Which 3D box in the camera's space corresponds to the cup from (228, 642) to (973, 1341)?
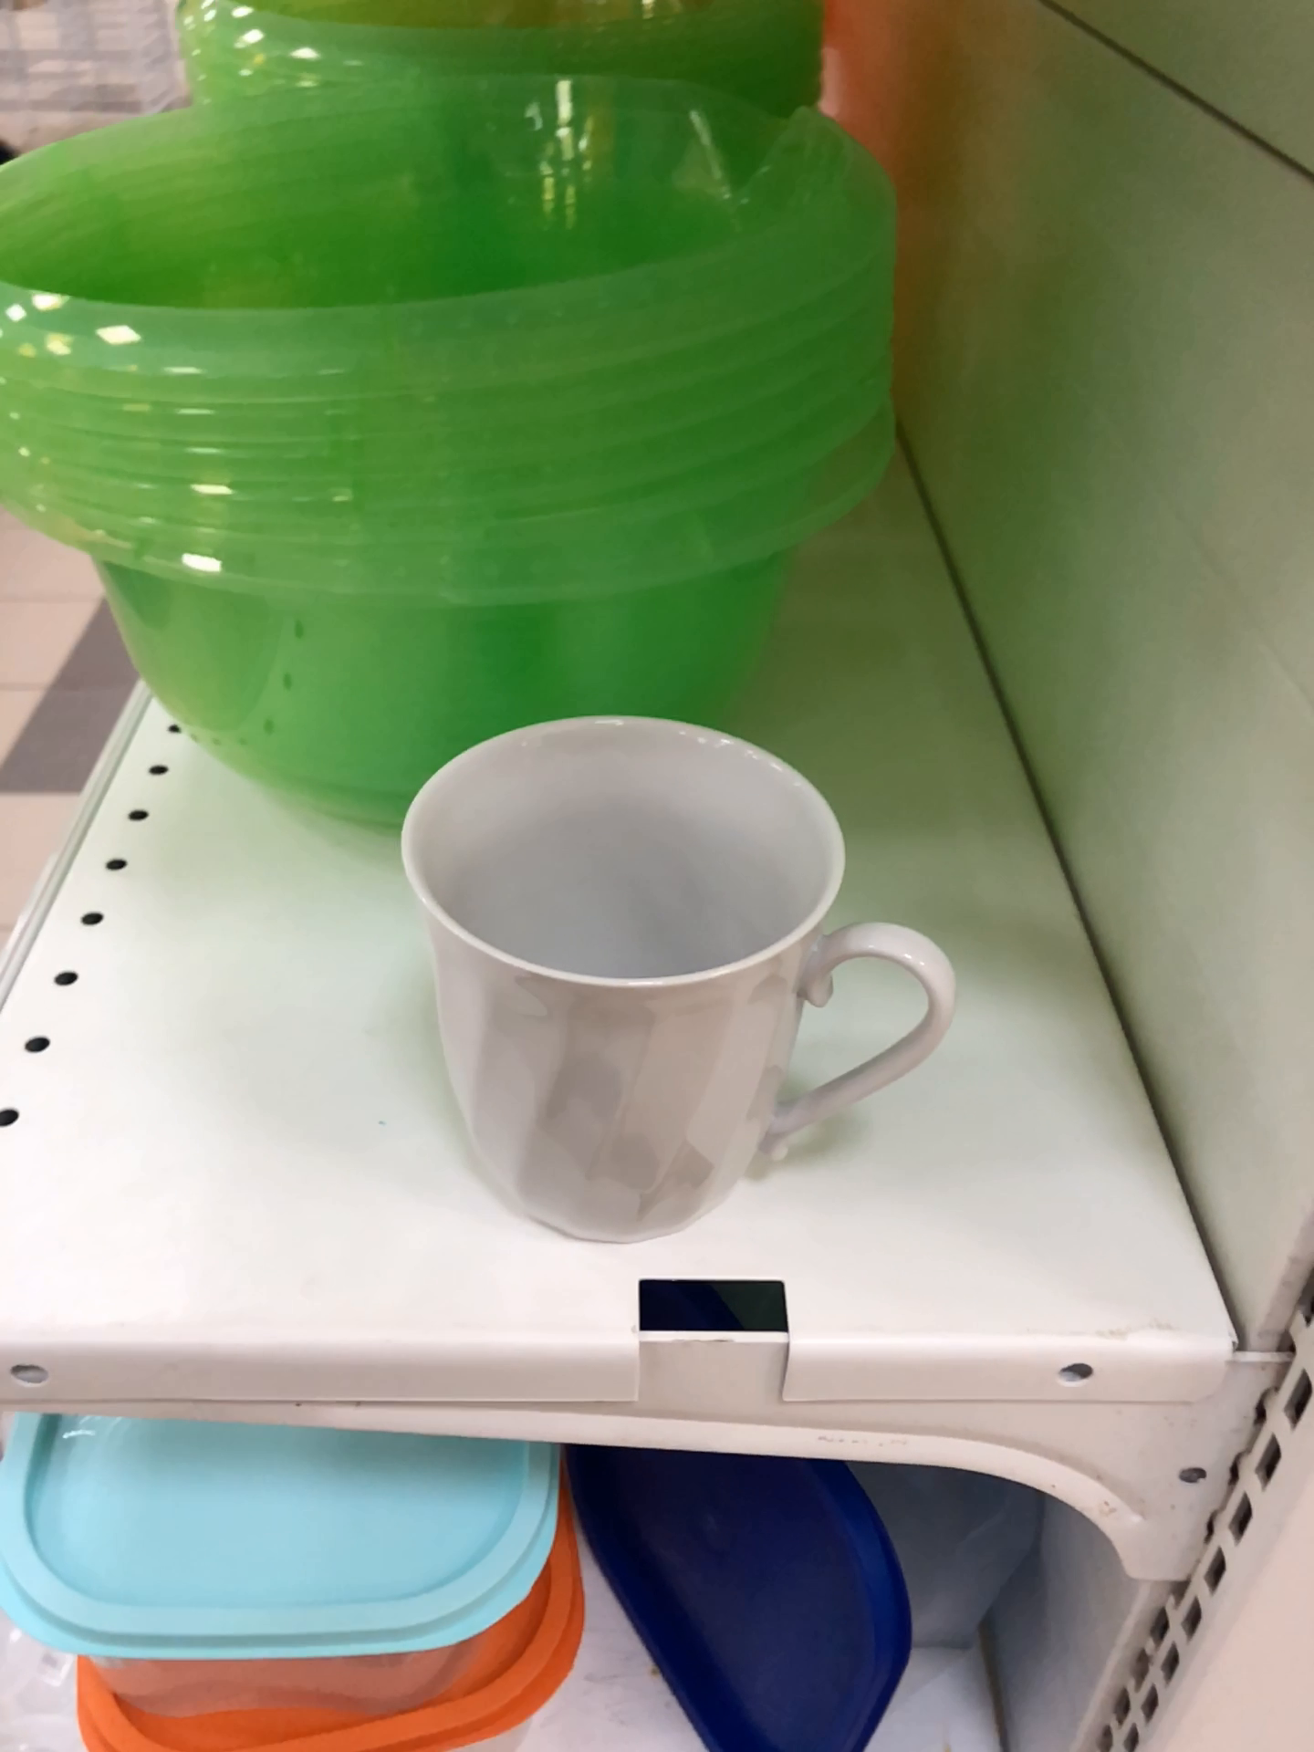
[{"bbox_3d":[-0.008,0.018,0.311,0.119,0.080,0.090,17,40,20],"label":"cup"}]
